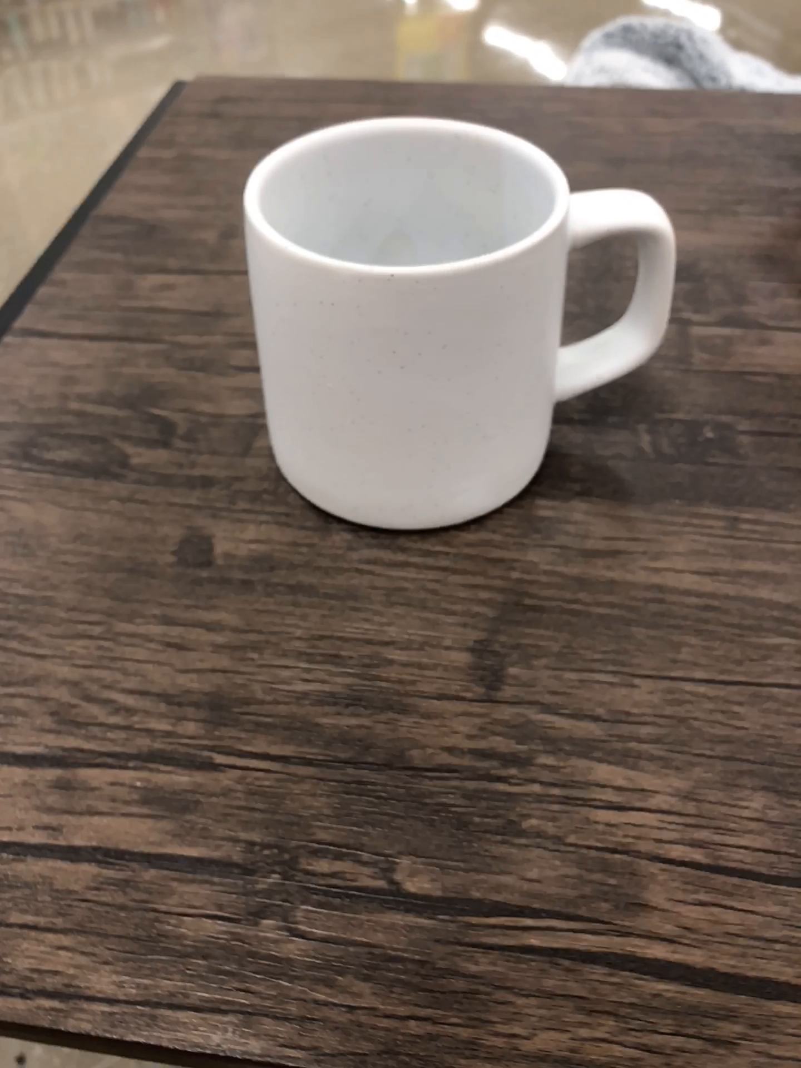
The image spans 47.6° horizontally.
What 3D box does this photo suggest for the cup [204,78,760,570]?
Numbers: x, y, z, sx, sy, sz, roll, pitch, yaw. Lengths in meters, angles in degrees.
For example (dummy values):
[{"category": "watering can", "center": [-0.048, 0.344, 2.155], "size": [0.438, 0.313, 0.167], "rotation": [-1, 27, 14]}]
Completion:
[{"category": "cup", "center": [0.015, -0.064, 0.276], "size": [0.130, 0.100, 0.090], "rotation": [-8, 47, -5]}]
